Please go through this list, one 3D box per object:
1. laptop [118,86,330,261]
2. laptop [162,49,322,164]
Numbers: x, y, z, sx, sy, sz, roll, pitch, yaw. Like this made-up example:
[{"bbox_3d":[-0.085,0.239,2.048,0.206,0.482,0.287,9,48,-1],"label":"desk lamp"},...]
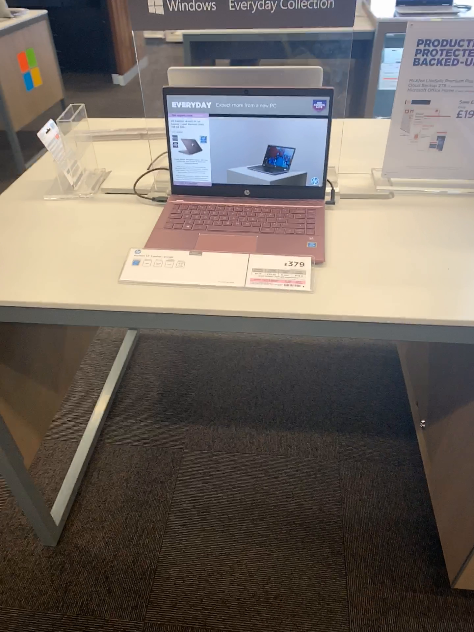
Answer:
[{"bbox_3d":[-0.004,-0.262,0.861,0.312,0.200,0.251,4,40,7],"label":"laptop"},{"bbox_3d":[0.020,-0.495,1.129,0.324,0.186,0.245,3,39,5],"label":"laptop"}]
